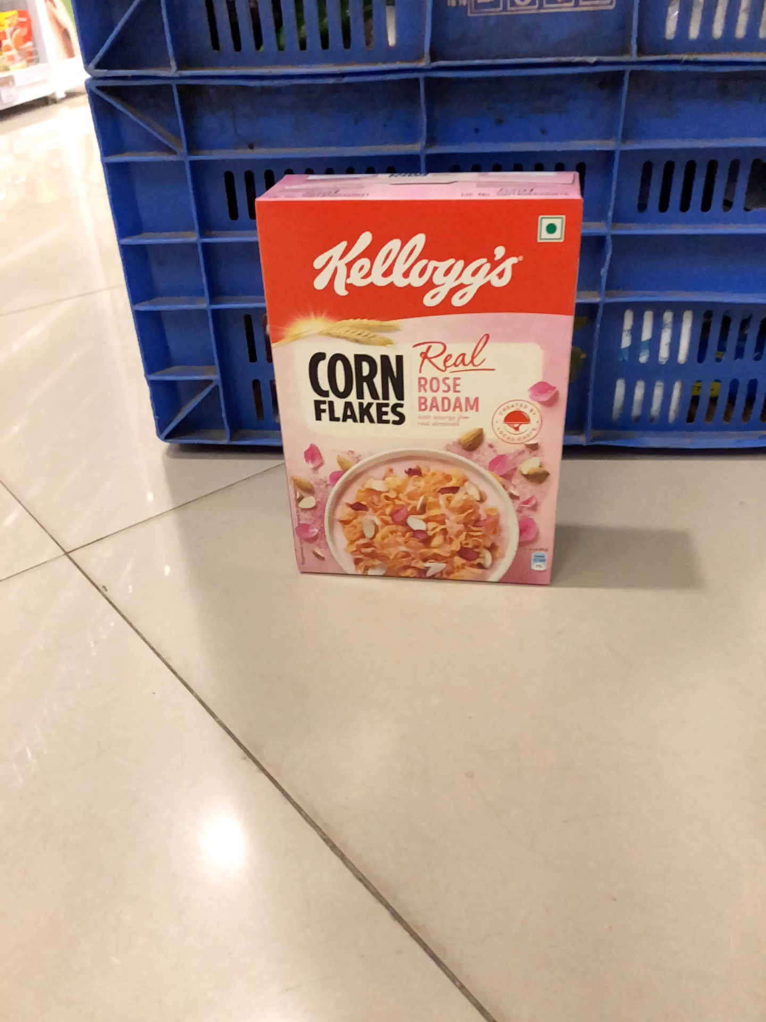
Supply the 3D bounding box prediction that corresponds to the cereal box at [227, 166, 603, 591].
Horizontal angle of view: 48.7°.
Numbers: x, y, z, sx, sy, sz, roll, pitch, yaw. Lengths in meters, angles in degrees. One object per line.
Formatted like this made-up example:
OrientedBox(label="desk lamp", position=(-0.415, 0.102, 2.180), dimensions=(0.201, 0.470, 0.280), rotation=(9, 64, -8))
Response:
OrientedBox(label="cereal box", position=(0.024, -0.077, 0.546), dimensions=(0.200, 0.258, 0.071), rotation=(2, 33, 7))
